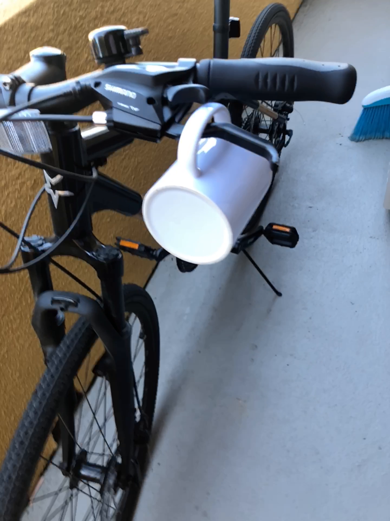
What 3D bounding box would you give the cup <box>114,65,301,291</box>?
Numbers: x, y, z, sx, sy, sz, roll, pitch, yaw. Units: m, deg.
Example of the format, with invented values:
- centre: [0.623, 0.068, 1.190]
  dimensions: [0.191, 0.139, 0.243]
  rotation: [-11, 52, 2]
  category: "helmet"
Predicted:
- centre: [0.016, -0.070, 0.362]
  dimensions: [0.090, 0.120, 0.120]
  rotation: [22, 54, 22]
  category: "cup"
